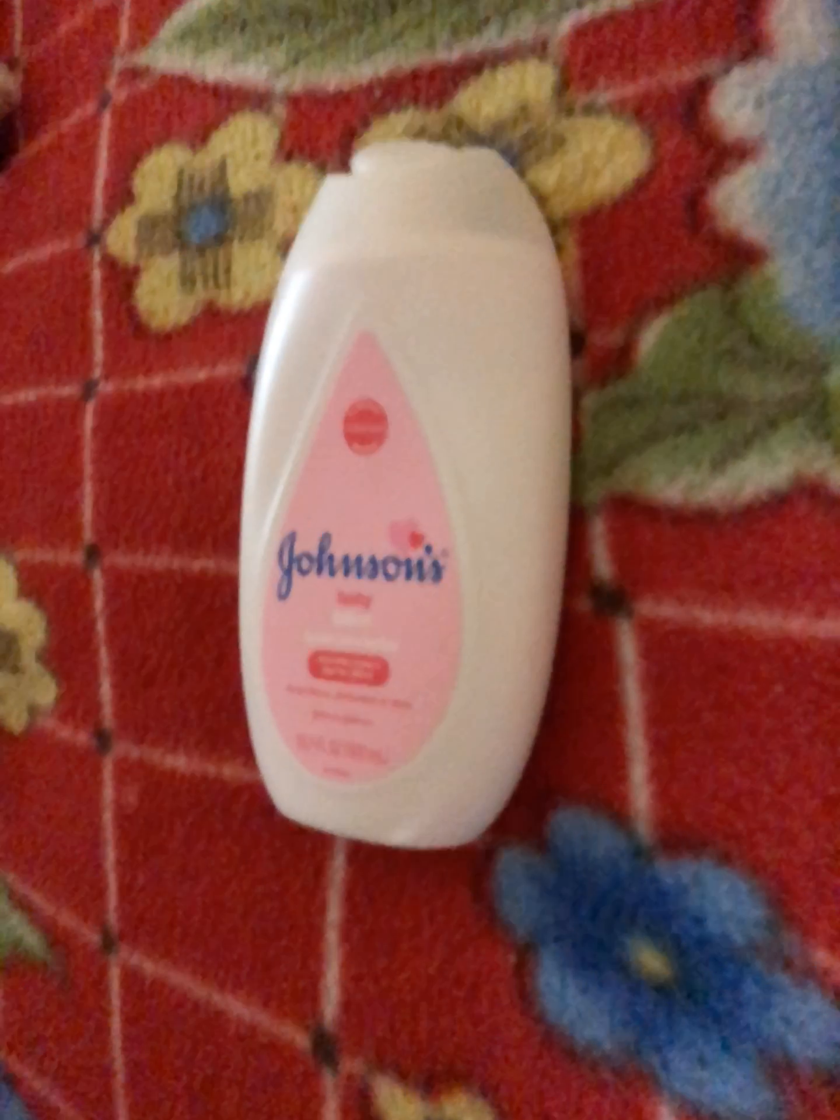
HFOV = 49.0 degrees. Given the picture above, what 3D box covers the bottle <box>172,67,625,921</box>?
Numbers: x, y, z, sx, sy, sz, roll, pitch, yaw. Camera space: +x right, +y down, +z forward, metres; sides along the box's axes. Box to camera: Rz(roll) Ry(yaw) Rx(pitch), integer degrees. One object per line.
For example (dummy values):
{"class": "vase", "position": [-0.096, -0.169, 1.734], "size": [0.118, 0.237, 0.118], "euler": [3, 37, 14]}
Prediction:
{"class": "bottle", "position": [-0.006, -0.016, 0.214], "size": [0.080, 0.030, 0.170], "euler": [4, 83, 34]}
